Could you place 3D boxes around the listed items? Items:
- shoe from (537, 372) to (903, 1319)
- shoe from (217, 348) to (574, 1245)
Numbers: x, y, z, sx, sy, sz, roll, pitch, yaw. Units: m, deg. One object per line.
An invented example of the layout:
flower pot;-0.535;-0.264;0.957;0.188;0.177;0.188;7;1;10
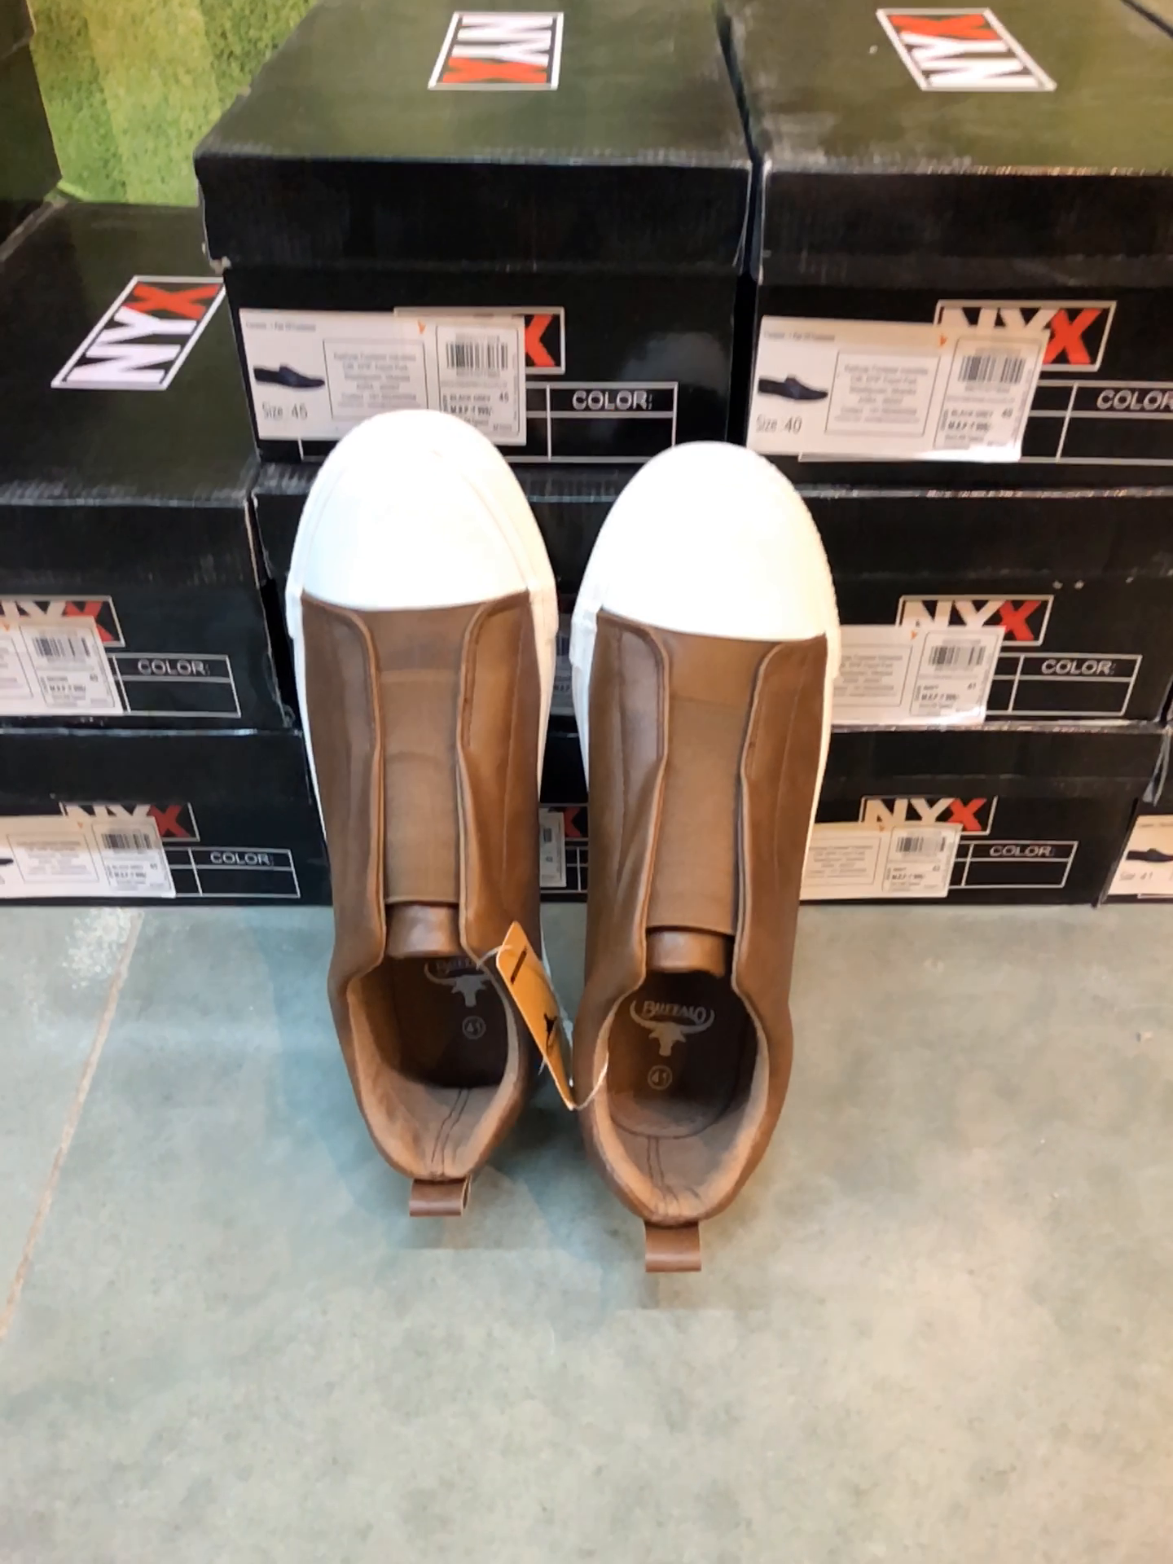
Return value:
shoe;0.039;0.017;0.424;0.096;0.272;0.100;2;4;2
shoe;-0.056;0.003;0.441;0.098;0.269;0.103;-1;5;0
